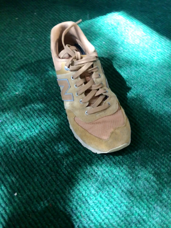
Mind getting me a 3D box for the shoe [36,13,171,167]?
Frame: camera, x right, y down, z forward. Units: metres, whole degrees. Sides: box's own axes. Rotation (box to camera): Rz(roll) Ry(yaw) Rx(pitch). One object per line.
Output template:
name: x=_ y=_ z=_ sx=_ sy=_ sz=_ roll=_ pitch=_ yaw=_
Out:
shoe: x=0.012 y=-0.057 z=0.347 sx=0.110 sy=0.100 sz=0.261 roll=-22 pitch=62 yaw=-13
